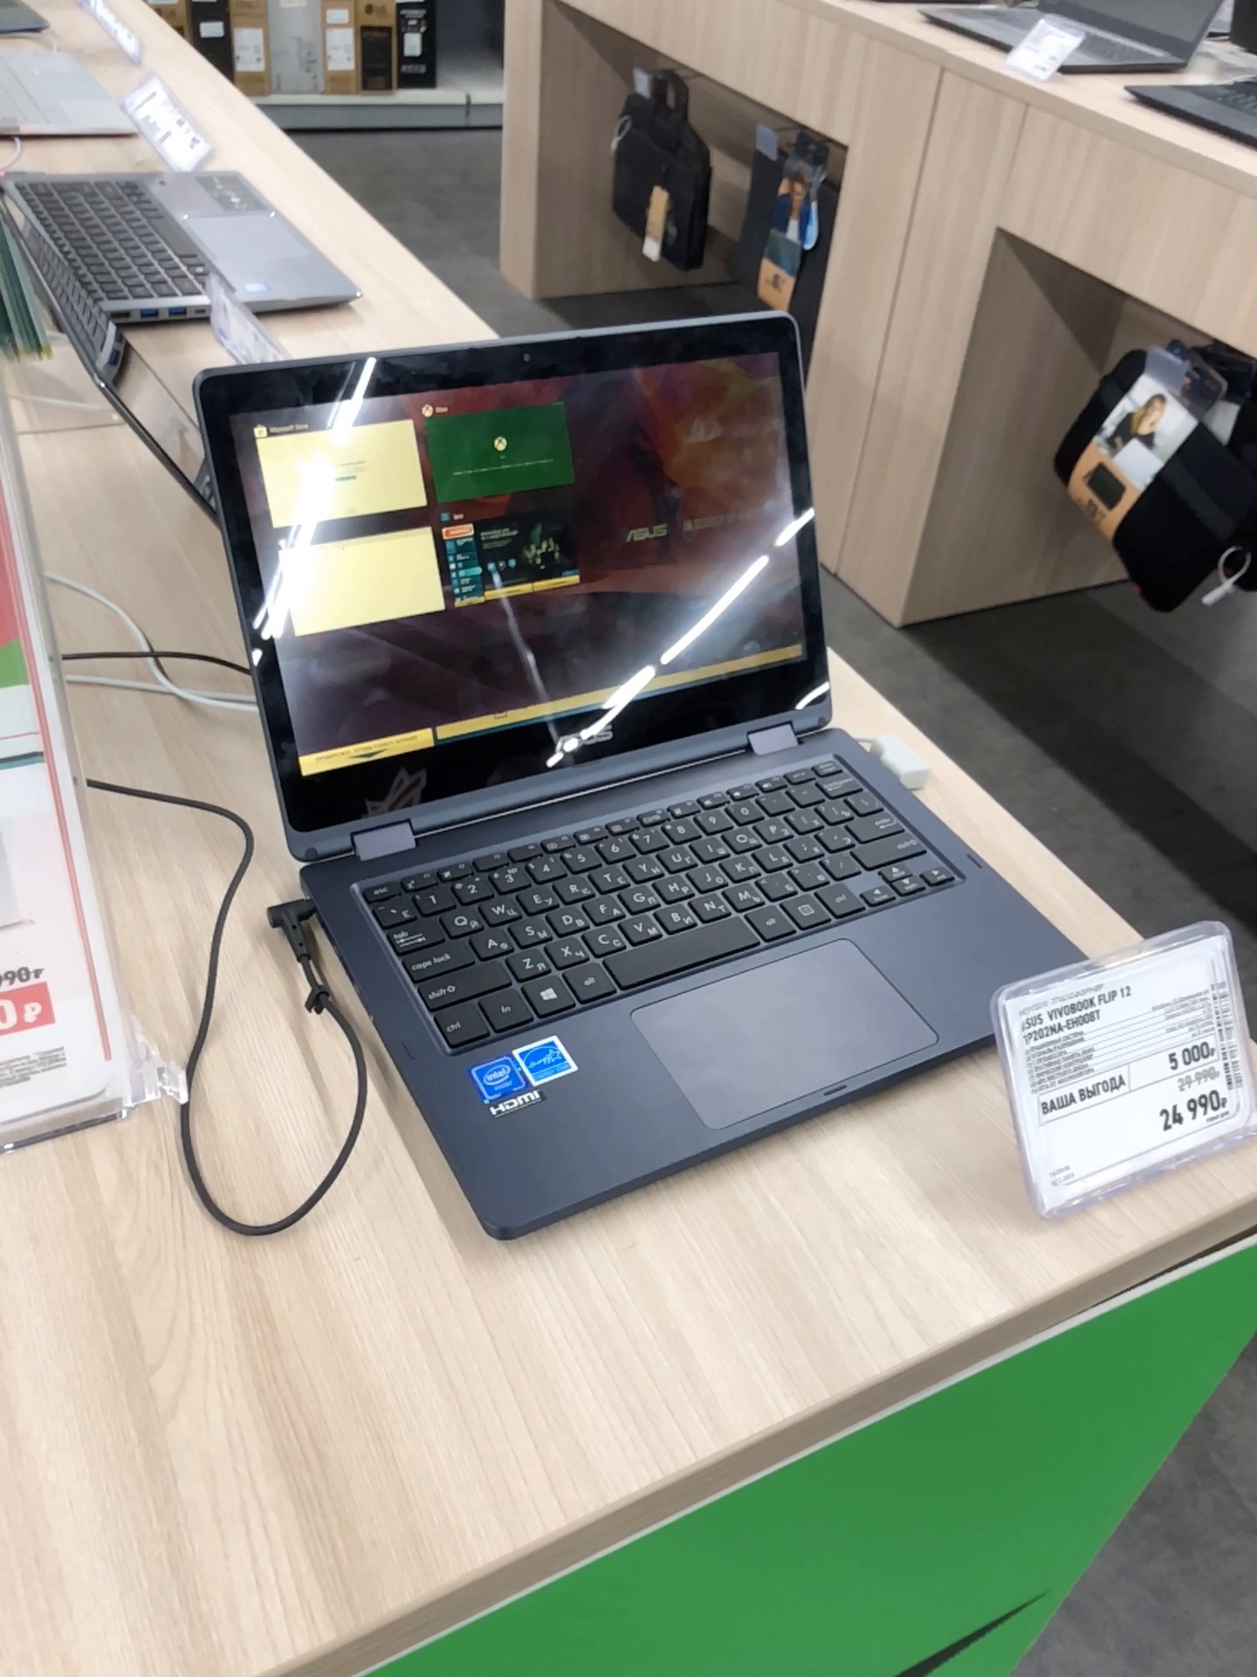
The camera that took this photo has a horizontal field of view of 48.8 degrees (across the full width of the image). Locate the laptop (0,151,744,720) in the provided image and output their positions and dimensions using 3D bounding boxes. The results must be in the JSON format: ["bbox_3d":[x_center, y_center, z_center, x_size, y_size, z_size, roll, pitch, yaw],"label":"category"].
[{"bbox_3d":[-0.142,-0.230,0.723,0.299,0.162,0.262,-15,45,-25],"label":"laptop"}]

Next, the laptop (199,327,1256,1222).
[{"bbox_3d":[0.016,-0.056,0.541,0.270,0.166,0.281,-16,45,-26],"label":"laptop"}]
